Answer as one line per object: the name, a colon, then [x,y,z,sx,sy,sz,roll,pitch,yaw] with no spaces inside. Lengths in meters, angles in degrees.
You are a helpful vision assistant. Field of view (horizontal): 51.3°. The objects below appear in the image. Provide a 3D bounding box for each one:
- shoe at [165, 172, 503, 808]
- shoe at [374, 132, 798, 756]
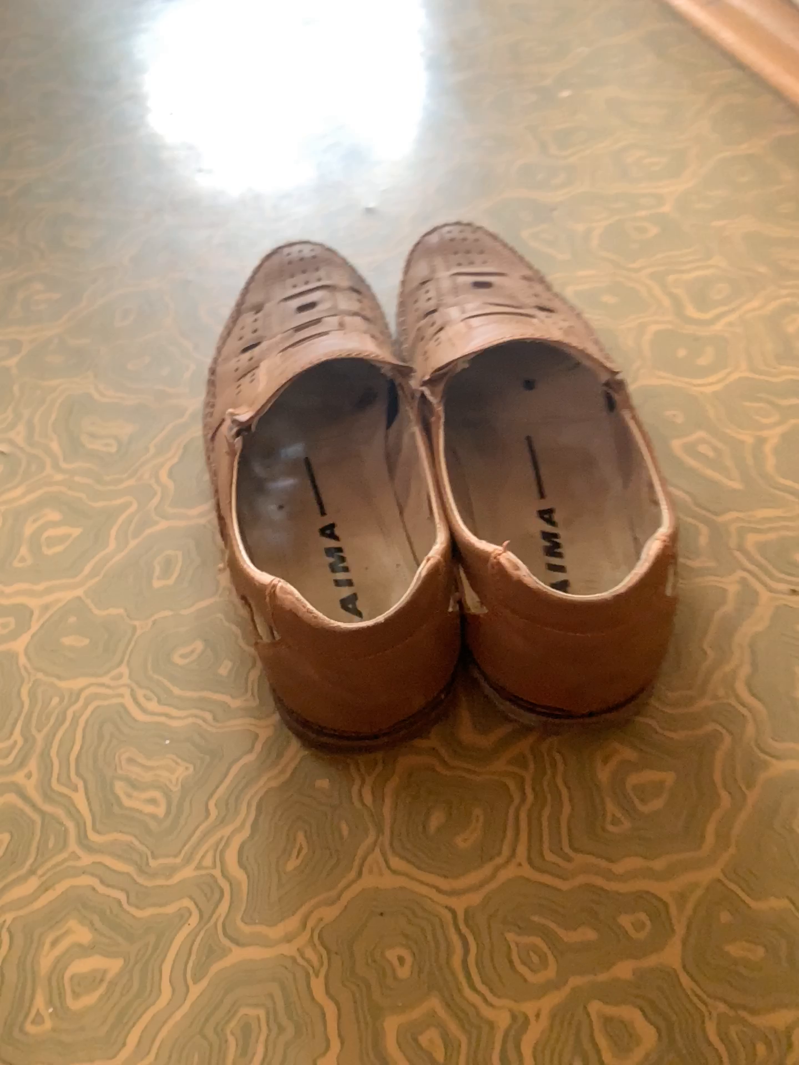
shoe: [-0.042,-0.042,0.373,0.100,0.079,0.292,-10,53,-4]
shoe: [0.062,-0.062,0.371,0.110,0.079,0.292,-7,52,-2]
